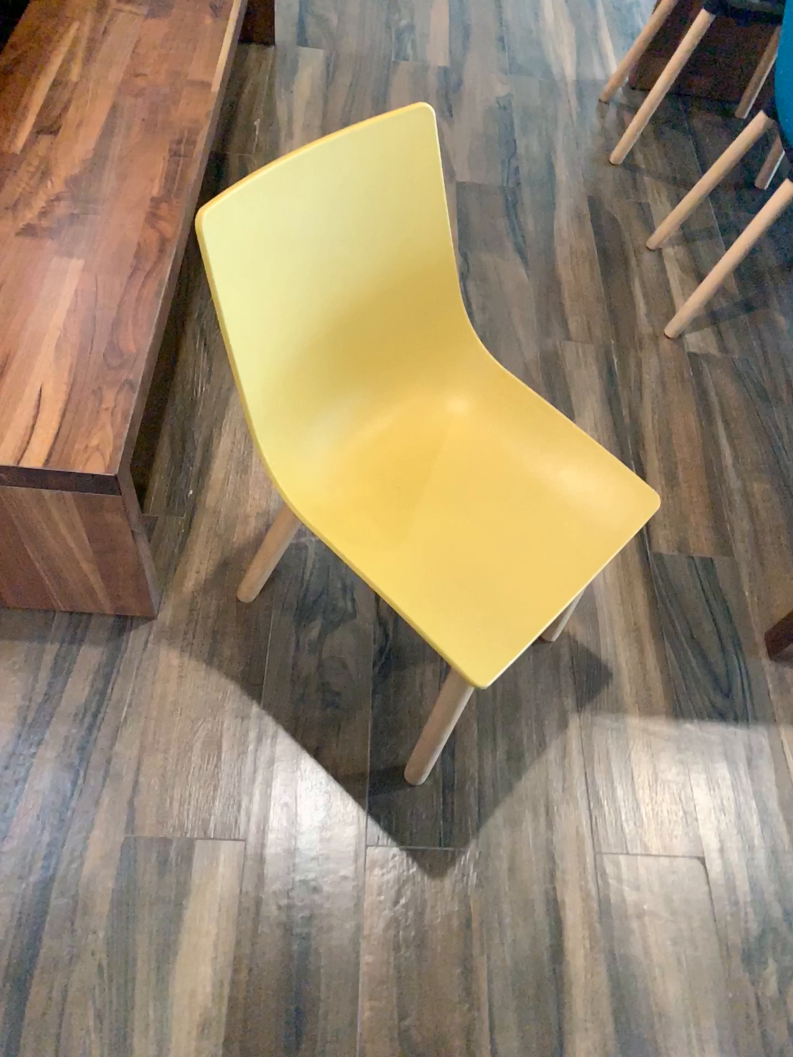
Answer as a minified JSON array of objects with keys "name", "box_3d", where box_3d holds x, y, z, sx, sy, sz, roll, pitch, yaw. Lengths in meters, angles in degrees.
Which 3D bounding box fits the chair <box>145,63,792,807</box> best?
[{"name":"chair","box_3d":[0.061,-0.068,1.062,0.501,0.716,0.452,40,61,17]}]
